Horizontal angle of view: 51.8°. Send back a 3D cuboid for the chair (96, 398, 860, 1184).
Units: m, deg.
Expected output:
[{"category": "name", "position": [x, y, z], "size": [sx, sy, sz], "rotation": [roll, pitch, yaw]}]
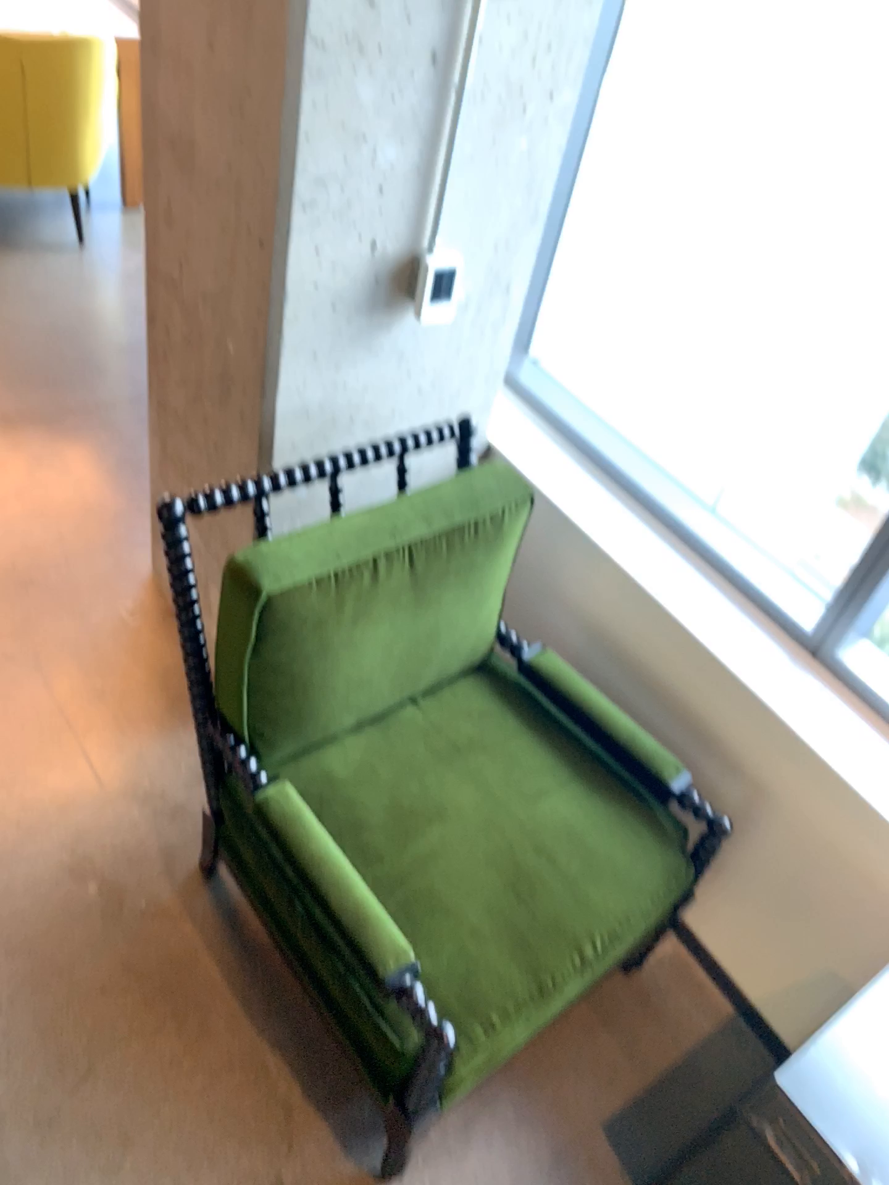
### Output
[{"category": "chair", "position": [-0.026, 0.348, 1.754], "size": [0.842, 0.926, 0.912], "rotation": [-24, 54, -35]}]
